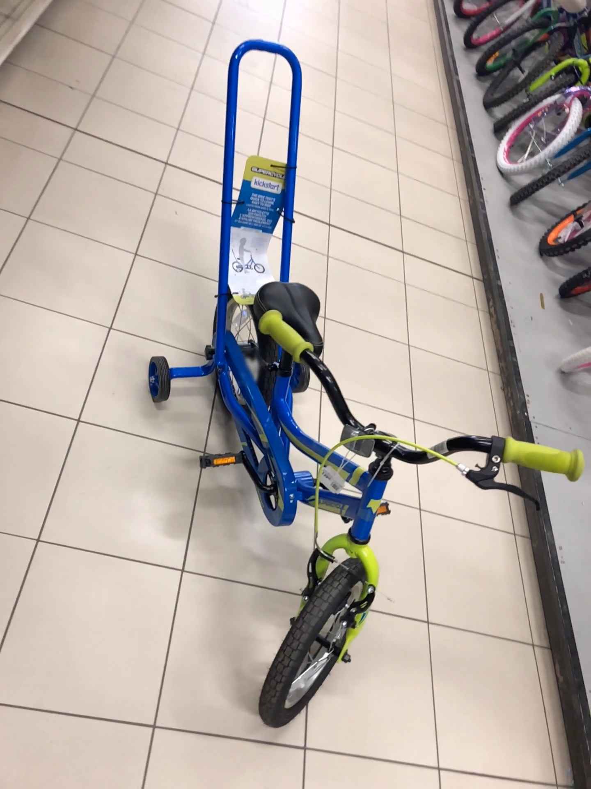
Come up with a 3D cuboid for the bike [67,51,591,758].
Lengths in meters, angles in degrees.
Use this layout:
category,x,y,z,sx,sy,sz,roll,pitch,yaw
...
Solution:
category,x,y,z,sx,sy,sz,roll,pitch,yaw
bike,-0.053,0.014,1.200,0.539,0.763,0.956,7,51,-23
